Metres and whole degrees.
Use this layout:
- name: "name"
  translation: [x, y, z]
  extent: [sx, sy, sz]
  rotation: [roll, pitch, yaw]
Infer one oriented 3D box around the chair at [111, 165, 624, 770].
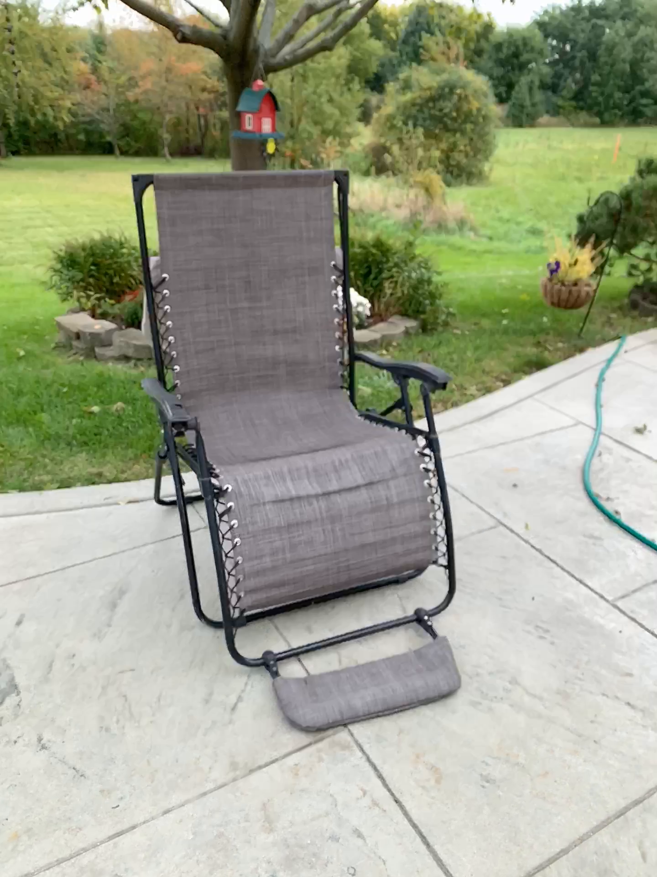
- name: "chair"
  translation: [-0.055, -0.090, 1.774]
  extent: [0.743, 1.057, 1.151]
  rotation: [-9, 29, -21]
